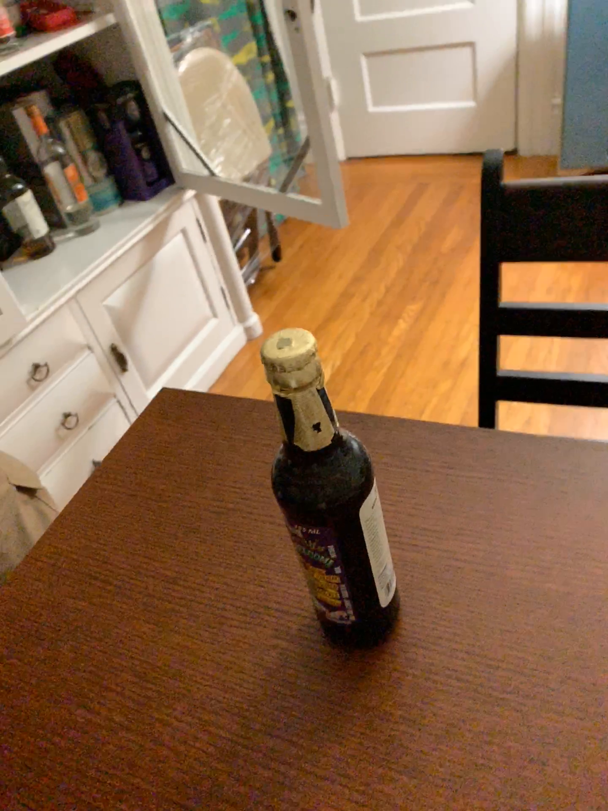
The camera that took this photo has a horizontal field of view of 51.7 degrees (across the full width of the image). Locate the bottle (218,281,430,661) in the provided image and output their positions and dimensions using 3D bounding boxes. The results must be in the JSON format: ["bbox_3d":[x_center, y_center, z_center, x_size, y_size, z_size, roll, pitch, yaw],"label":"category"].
[{"bbox_3d":[0.023,0.053,0.353,0.070,0.229,0.070,-9,41,8],"label":"bottle"}]
